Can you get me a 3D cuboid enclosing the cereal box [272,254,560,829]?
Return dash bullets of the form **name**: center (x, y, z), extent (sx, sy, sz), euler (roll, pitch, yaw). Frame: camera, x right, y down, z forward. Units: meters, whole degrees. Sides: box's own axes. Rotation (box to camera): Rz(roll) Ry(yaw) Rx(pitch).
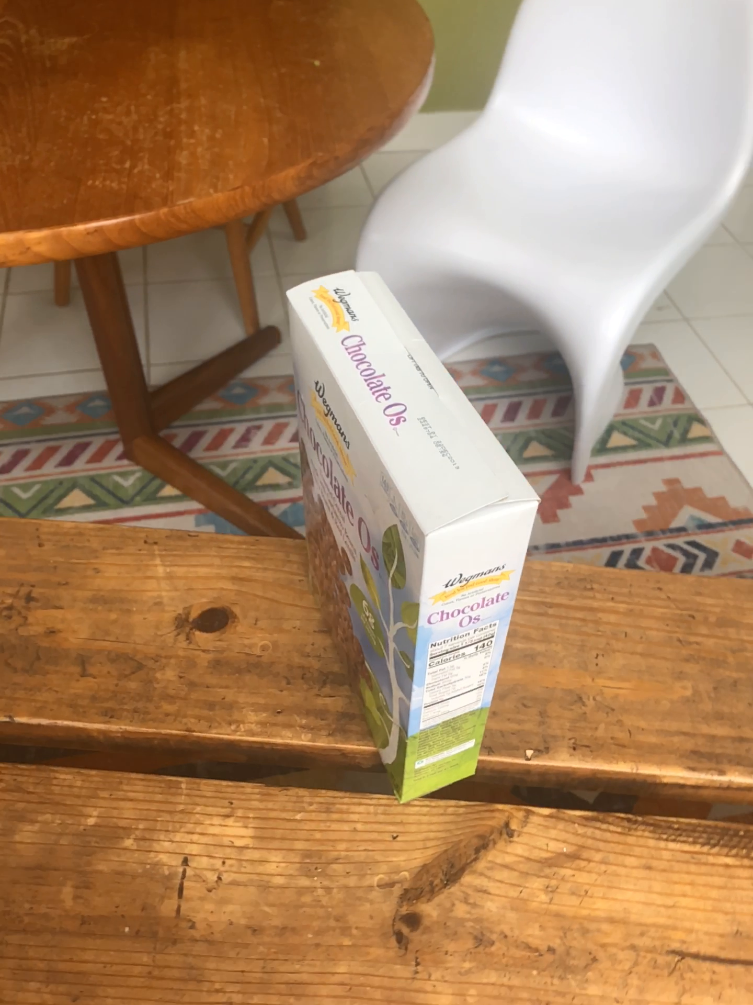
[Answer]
- **cereal box**: center (0.006, 0.033, 0.502), extent (0.060, 0.278, 0.211), euler (-15, 50, -15)
